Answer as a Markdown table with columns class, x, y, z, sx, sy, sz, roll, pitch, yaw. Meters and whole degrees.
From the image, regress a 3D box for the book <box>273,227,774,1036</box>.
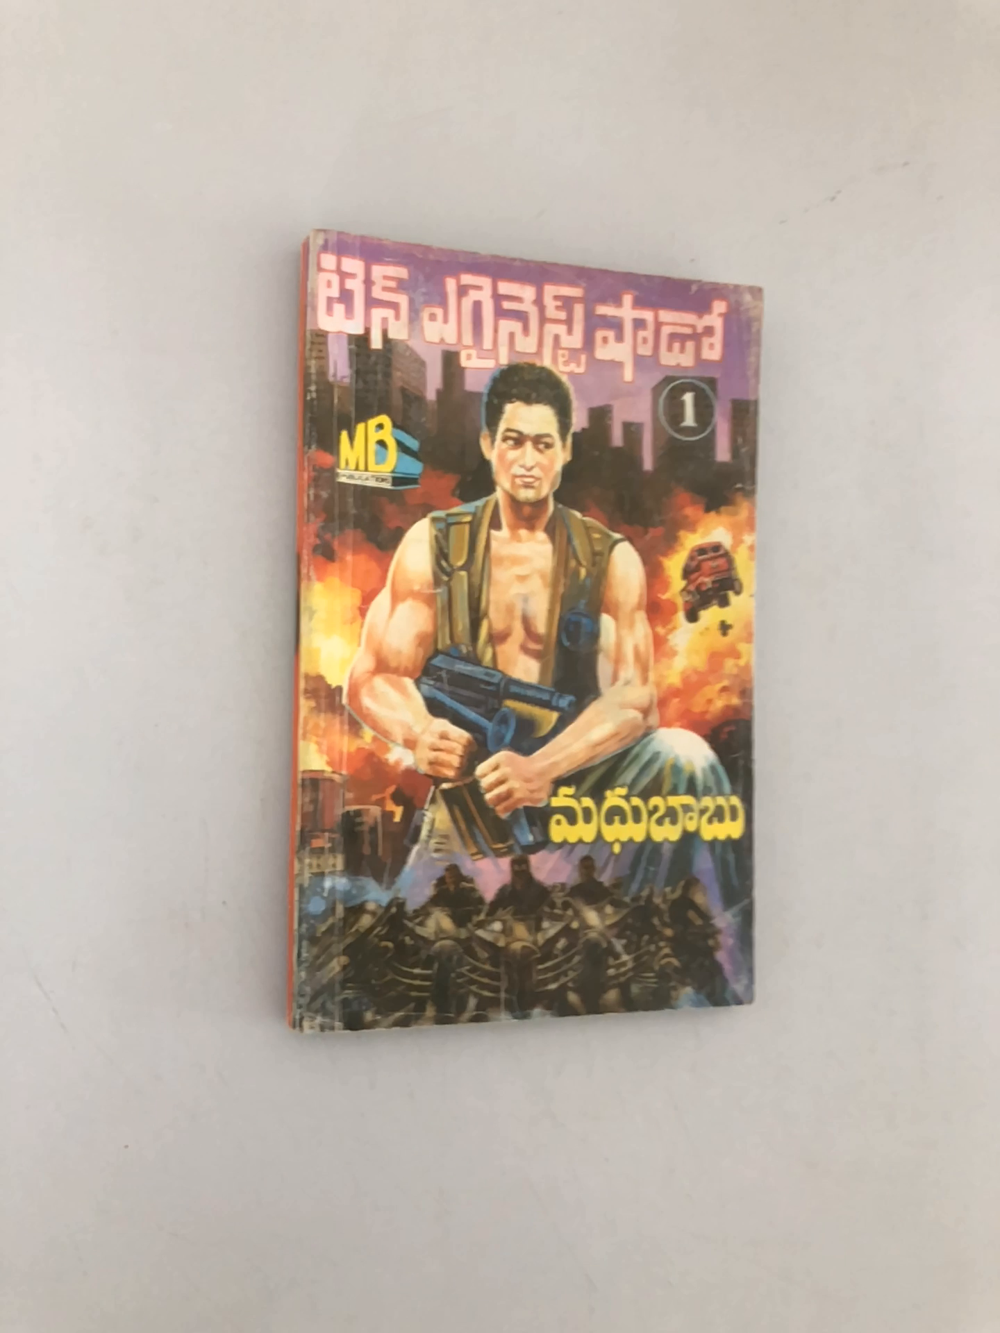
| class | x | y | z | sx | sy | sz | roll | pitch | yaw |
| --- | --- | --- | --- | --- | --- | --- | --- | --- | --- |
| book | 0.006 | -0.007 | 0.226 | 0.100 | 0.010 | 0.151 | 1 | 86 | -15 |
